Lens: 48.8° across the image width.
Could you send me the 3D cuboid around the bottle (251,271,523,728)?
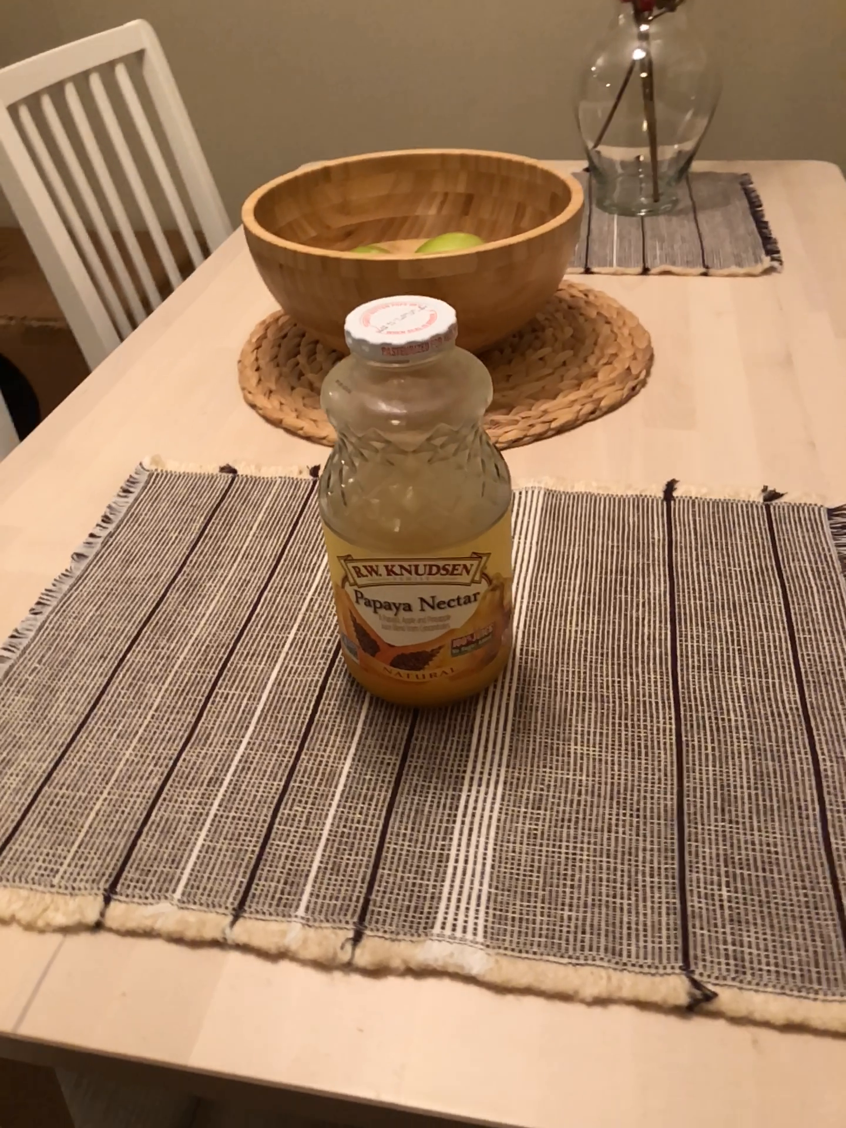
[{"bbox_3d":[-0.006,-0.029,0.463,0.100,0.199,0.101,-2,37,2],"label":"bottle"}]
